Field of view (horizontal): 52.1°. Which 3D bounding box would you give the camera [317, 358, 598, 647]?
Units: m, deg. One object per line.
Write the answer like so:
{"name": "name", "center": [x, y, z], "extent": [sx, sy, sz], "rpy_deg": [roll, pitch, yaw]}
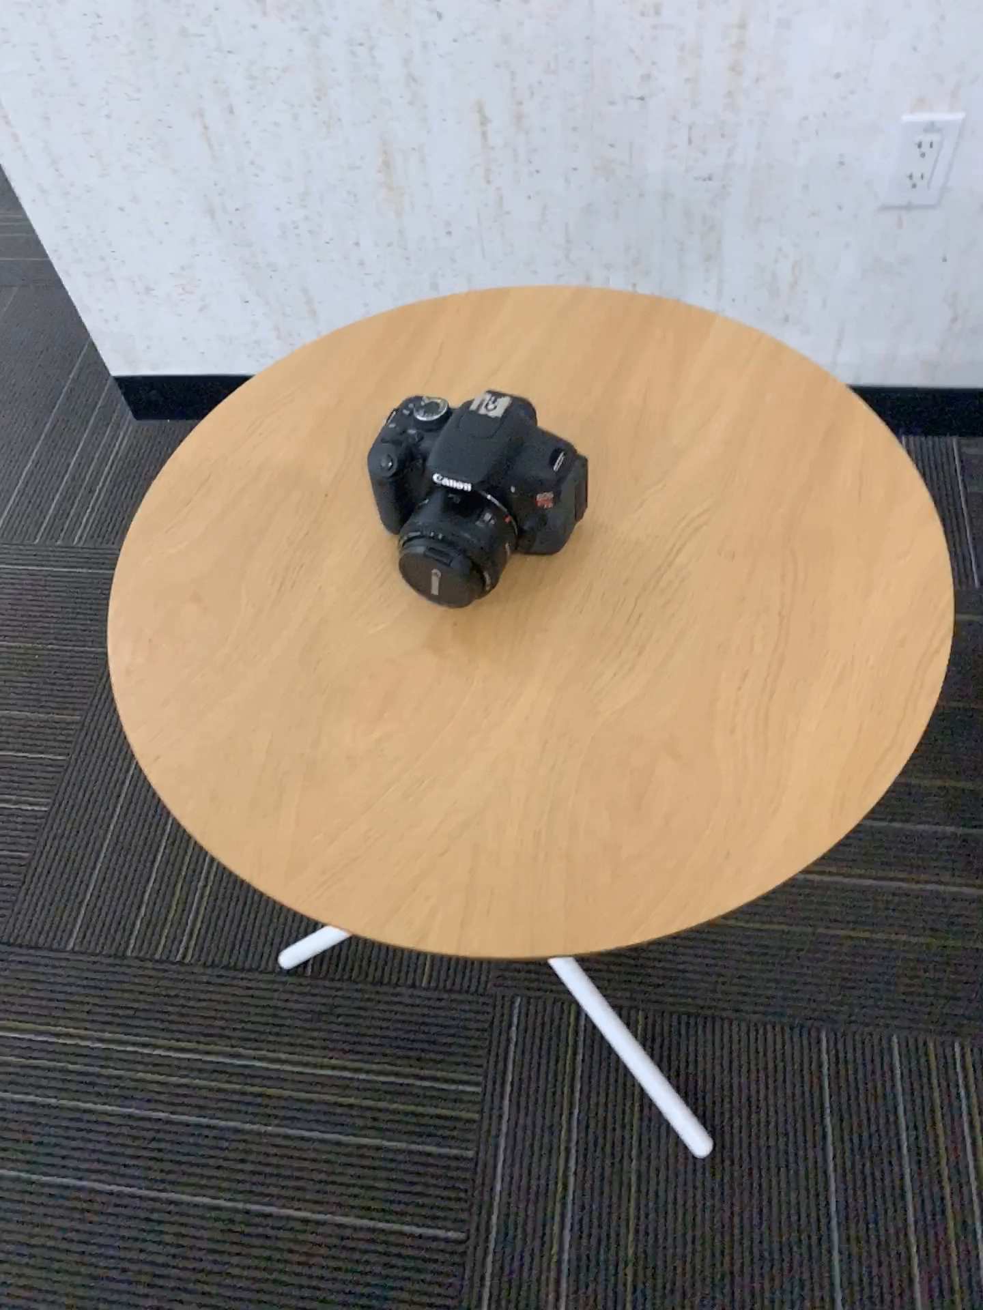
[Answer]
{"name": "camera", "center": [-0.015, -0.097, 0.636], "extent": [0.130, 0.100, 0.117], "rpy_deg": [18, 60, 16]}
